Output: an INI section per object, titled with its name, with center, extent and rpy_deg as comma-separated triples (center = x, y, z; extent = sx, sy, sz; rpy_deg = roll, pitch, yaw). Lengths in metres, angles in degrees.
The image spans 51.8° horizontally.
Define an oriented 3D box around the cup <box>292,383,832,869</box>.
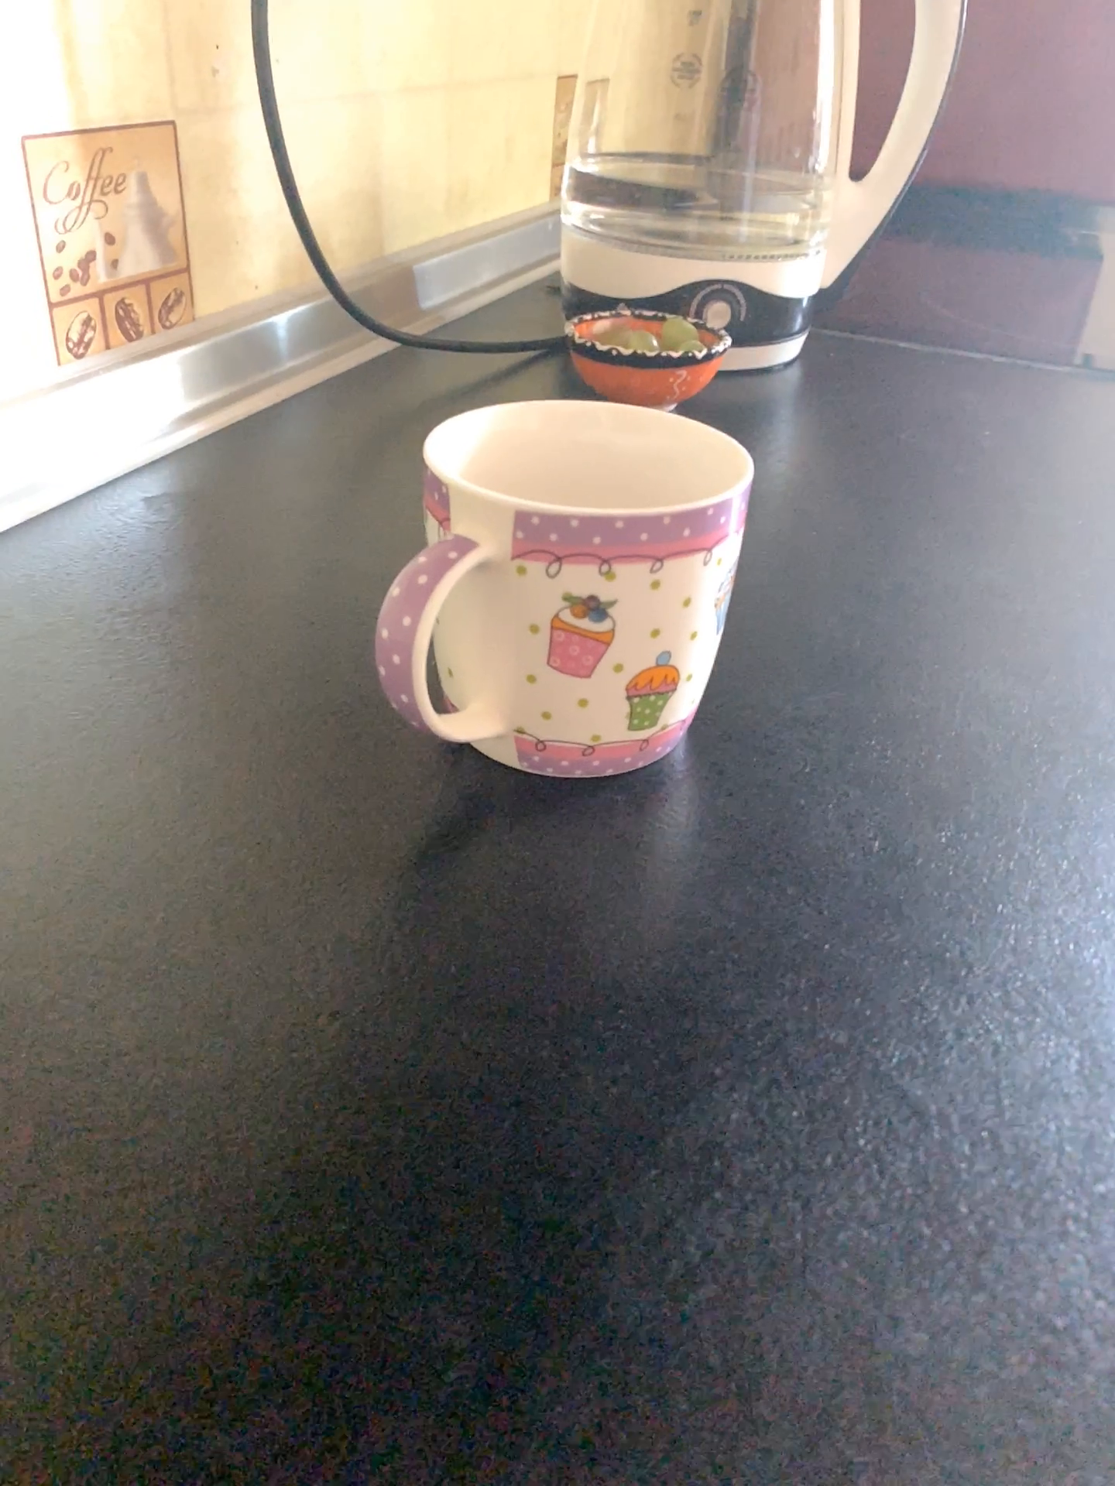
[cup]
center = 0.001, -0.039, 0.307
extent = 0.110, 0.080, 0.080
rpy_deg = -24, 42, -37
